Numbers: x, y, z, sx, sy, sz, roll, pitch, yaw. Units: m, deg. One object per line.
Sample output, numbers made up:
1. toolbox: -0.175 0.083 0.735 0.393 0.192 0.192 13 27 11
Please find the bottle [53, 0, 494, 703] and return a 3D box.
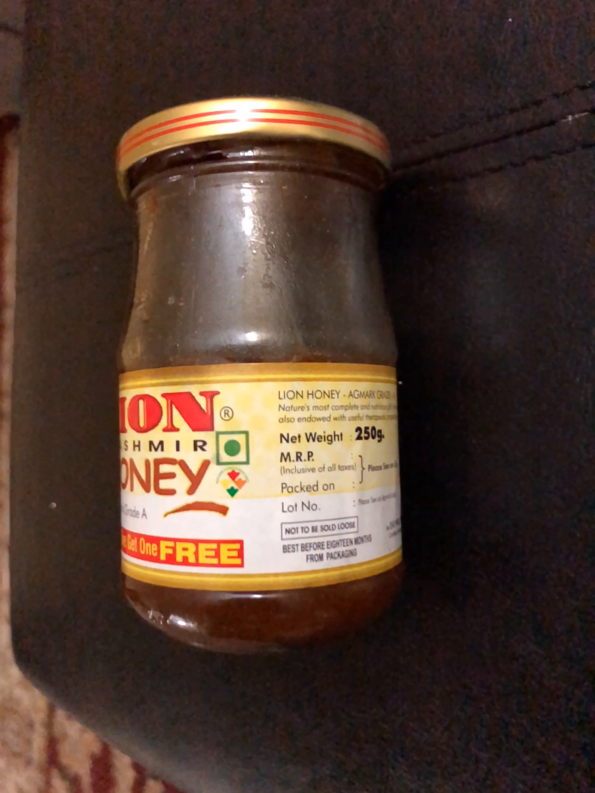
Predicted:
1. bottle: -0.007 -0.006 0.152 0.069 0.070 0.110 -4 85 50
